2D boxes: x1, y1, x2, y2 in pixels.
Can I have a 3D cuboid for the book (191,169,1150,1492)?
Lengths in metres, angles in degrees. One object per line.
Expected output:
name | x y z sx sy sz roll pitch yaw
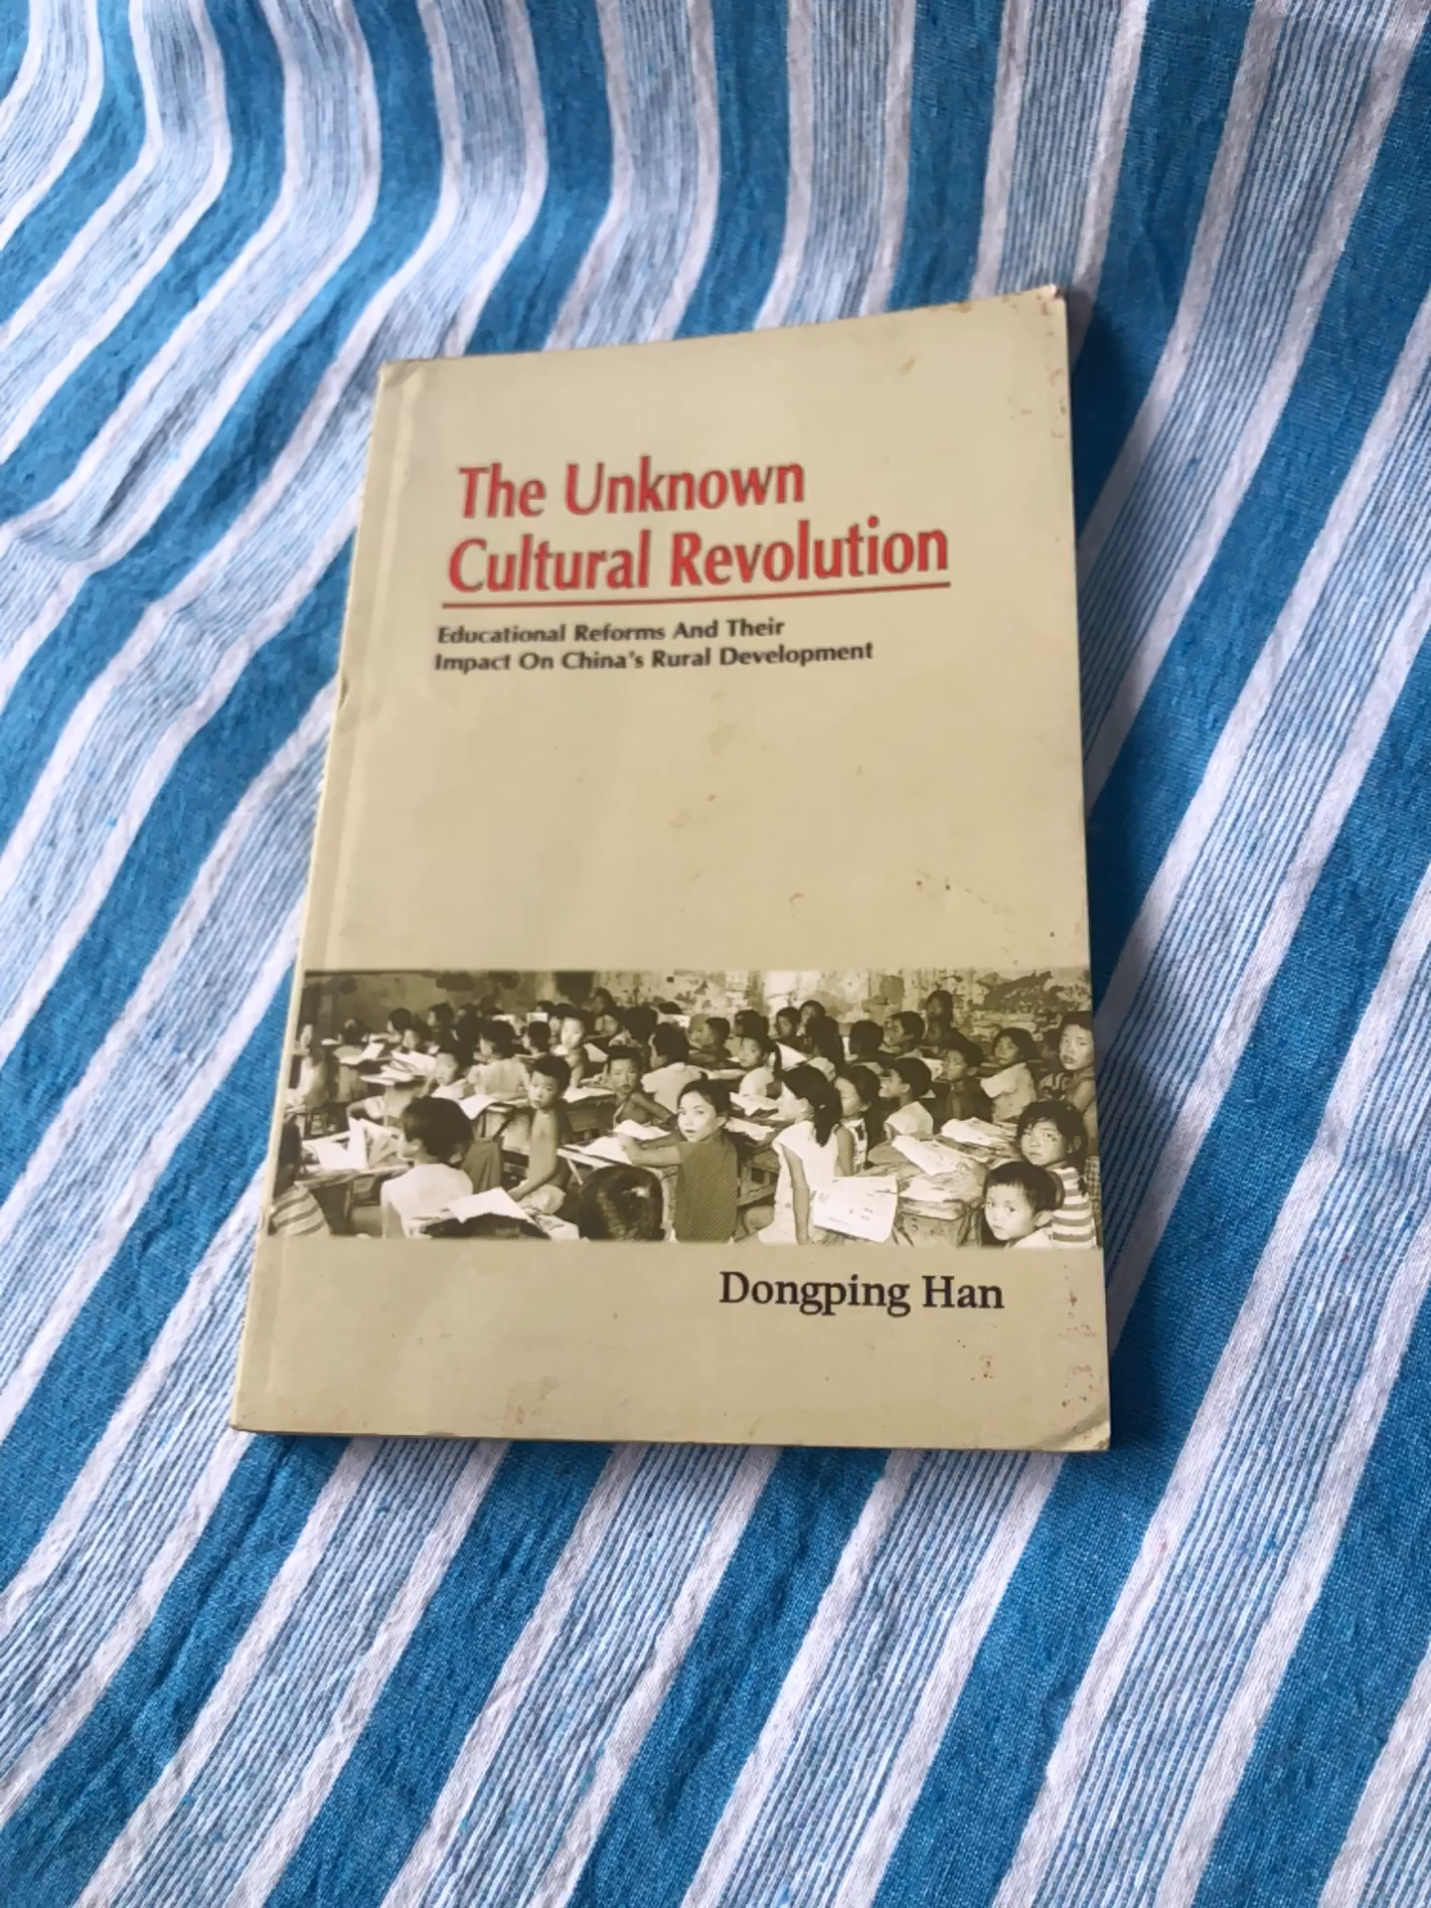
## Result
book | -0.002 -0.032 0.277 0.140 0.020 0.230 -2 67 15
